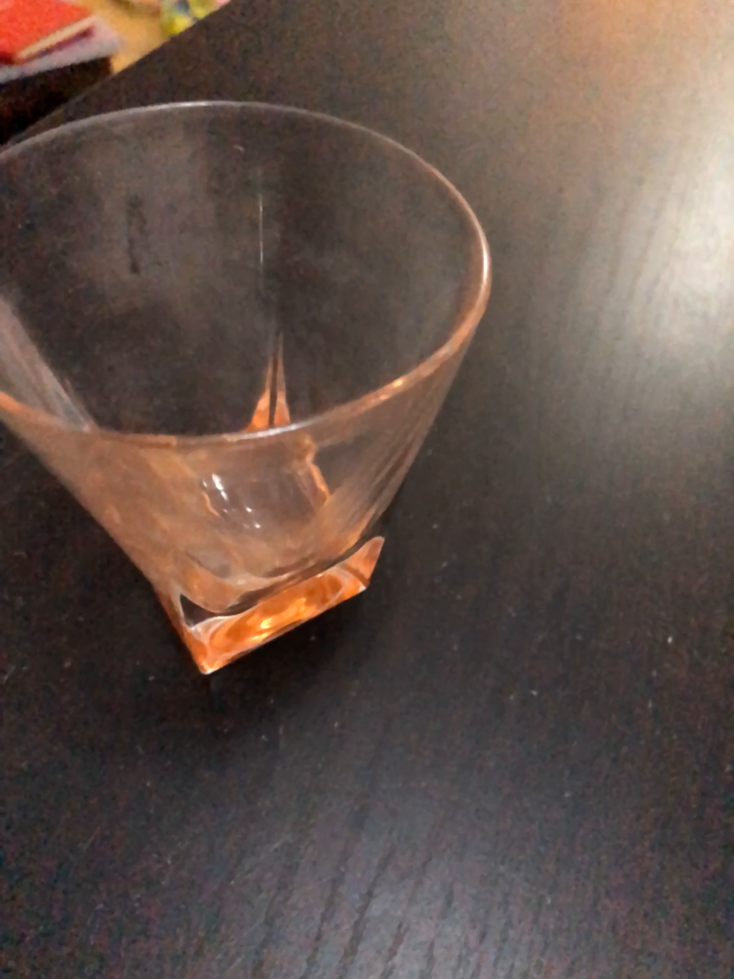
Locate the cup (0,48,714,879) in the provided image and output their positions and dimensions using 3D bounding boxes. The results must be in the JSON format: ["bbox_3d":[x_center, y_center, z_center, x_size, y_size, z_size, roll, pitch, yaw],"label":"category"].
[{"bbox_3d":[-0.025,-0.011,0.174,0.110,0.099,0.110,3,50,-3],"label":"cup"}]
